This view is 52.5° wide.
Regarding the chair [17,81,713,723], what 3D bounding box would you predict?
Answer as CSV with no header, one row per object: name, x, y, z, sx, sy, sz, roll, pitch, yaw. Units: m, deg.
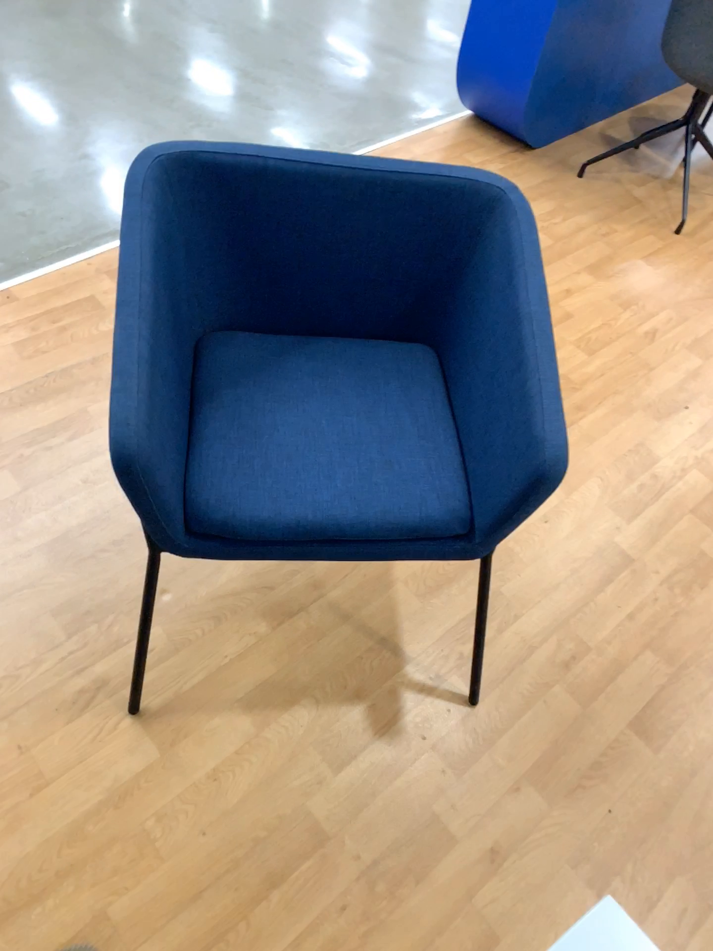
chair,-0.040,-0.087,1.208,0.700,0.685,0.755,3,51,-9
